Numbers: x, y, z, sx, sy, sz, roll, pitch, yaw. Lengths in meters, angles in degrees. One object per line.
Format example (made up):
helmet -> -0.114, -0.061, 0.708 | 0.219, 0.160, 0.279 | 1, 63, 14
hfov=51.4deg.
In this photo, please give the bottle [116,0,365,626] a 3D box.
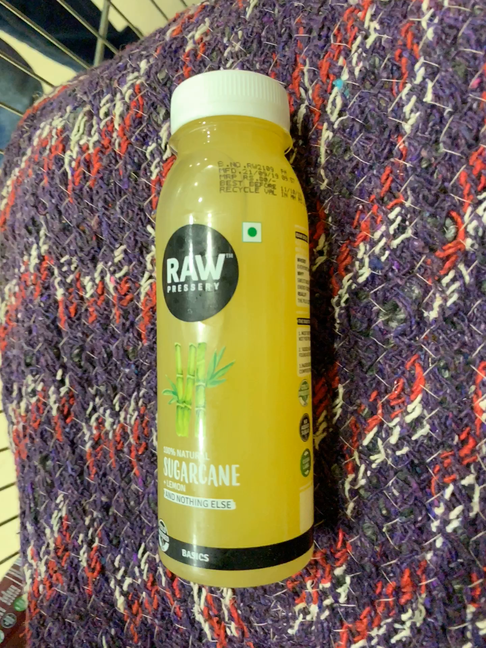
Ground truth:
bottle -> 0.000, -0.006, 0.161 | 0.060, 0.050, 0.160 | -2, 89, 29
